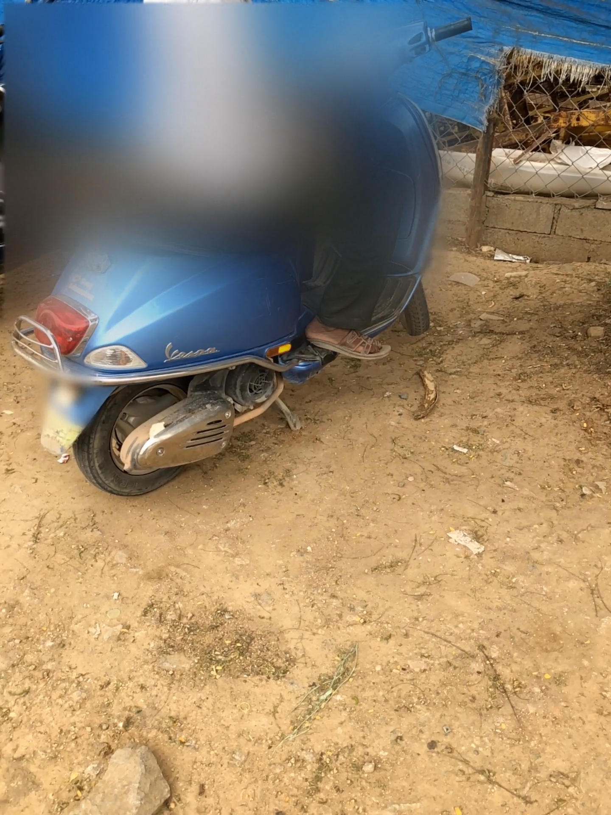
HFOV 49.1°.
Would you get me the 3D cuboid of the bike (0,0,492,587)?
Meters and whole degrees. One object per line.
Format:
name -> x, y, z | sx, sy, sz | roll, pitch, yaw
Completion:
bike -> -0.080, -0.624, 2.088 | 0.632, 1.253, 1.575 | 19, 38, 29
